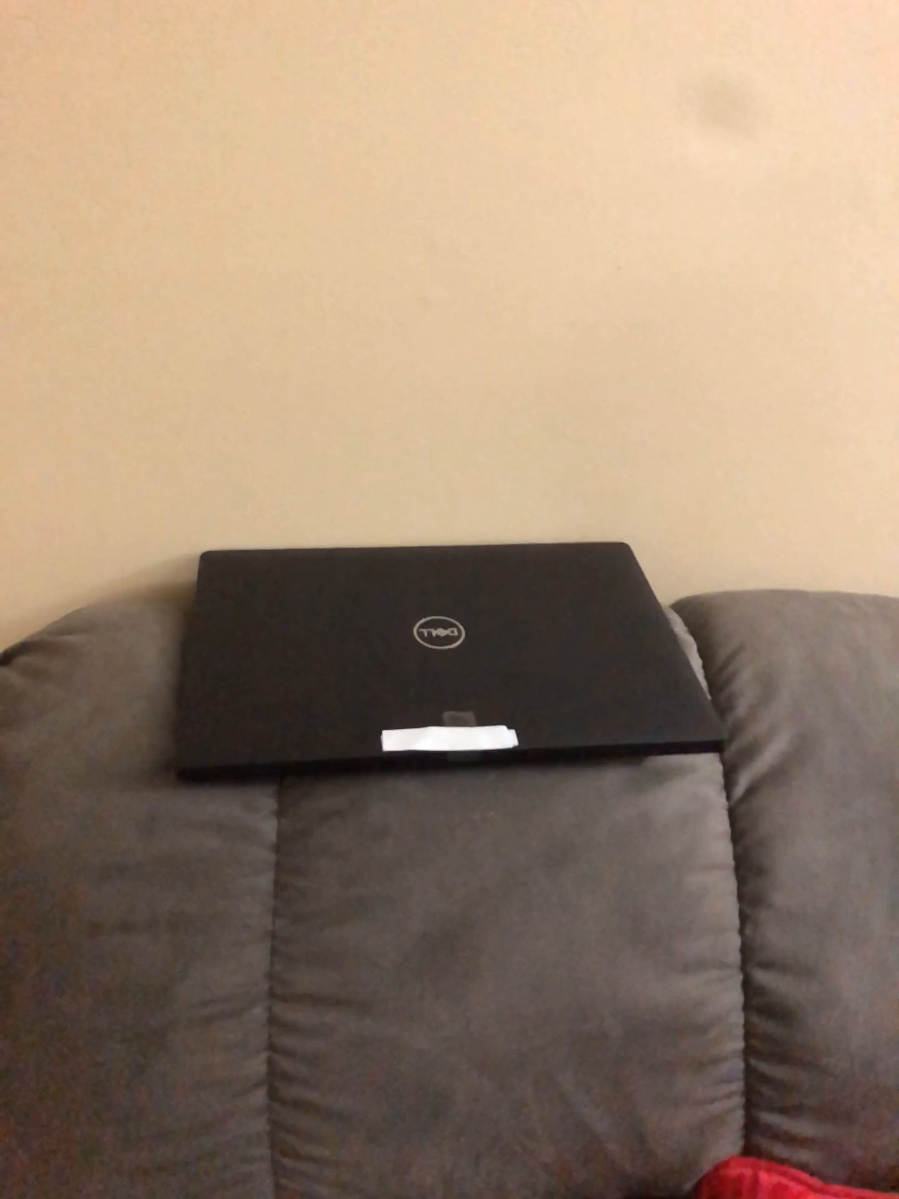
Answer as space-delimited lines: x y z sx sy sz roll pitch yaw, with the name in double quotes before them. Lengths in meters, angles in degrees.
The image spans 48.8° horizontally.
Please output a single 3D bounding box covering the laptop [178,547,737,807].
"laptop" -0.007 0.039 0.665 0.326 0.030 0.215 -1 37 -7
